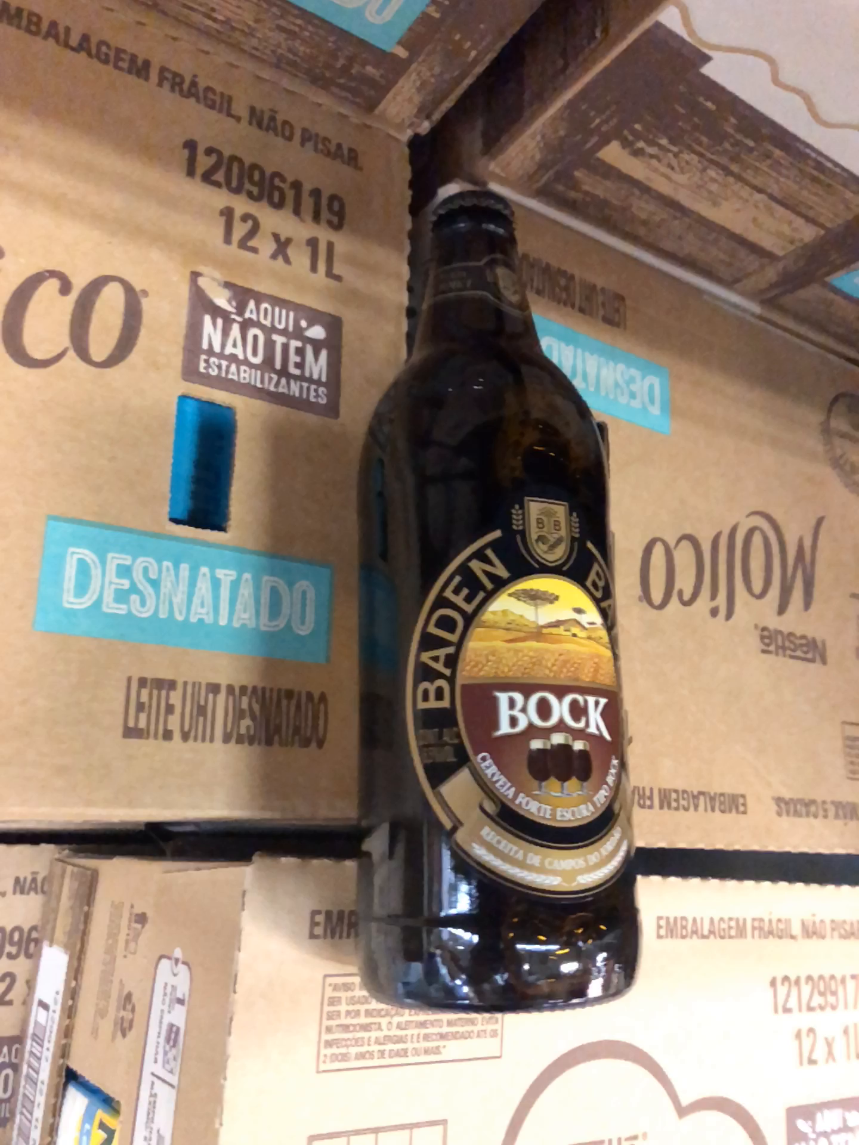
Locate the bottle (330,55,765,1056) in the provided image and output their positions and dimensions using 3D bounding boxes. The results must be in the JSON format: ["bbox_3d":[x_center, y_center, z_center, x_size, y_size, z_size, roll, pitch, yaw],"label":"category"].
[{"bbox_3d":[0.025,-0.007,0.262,0.080,0.070,0.230,8,74,-32],"label":"bottle"}]
